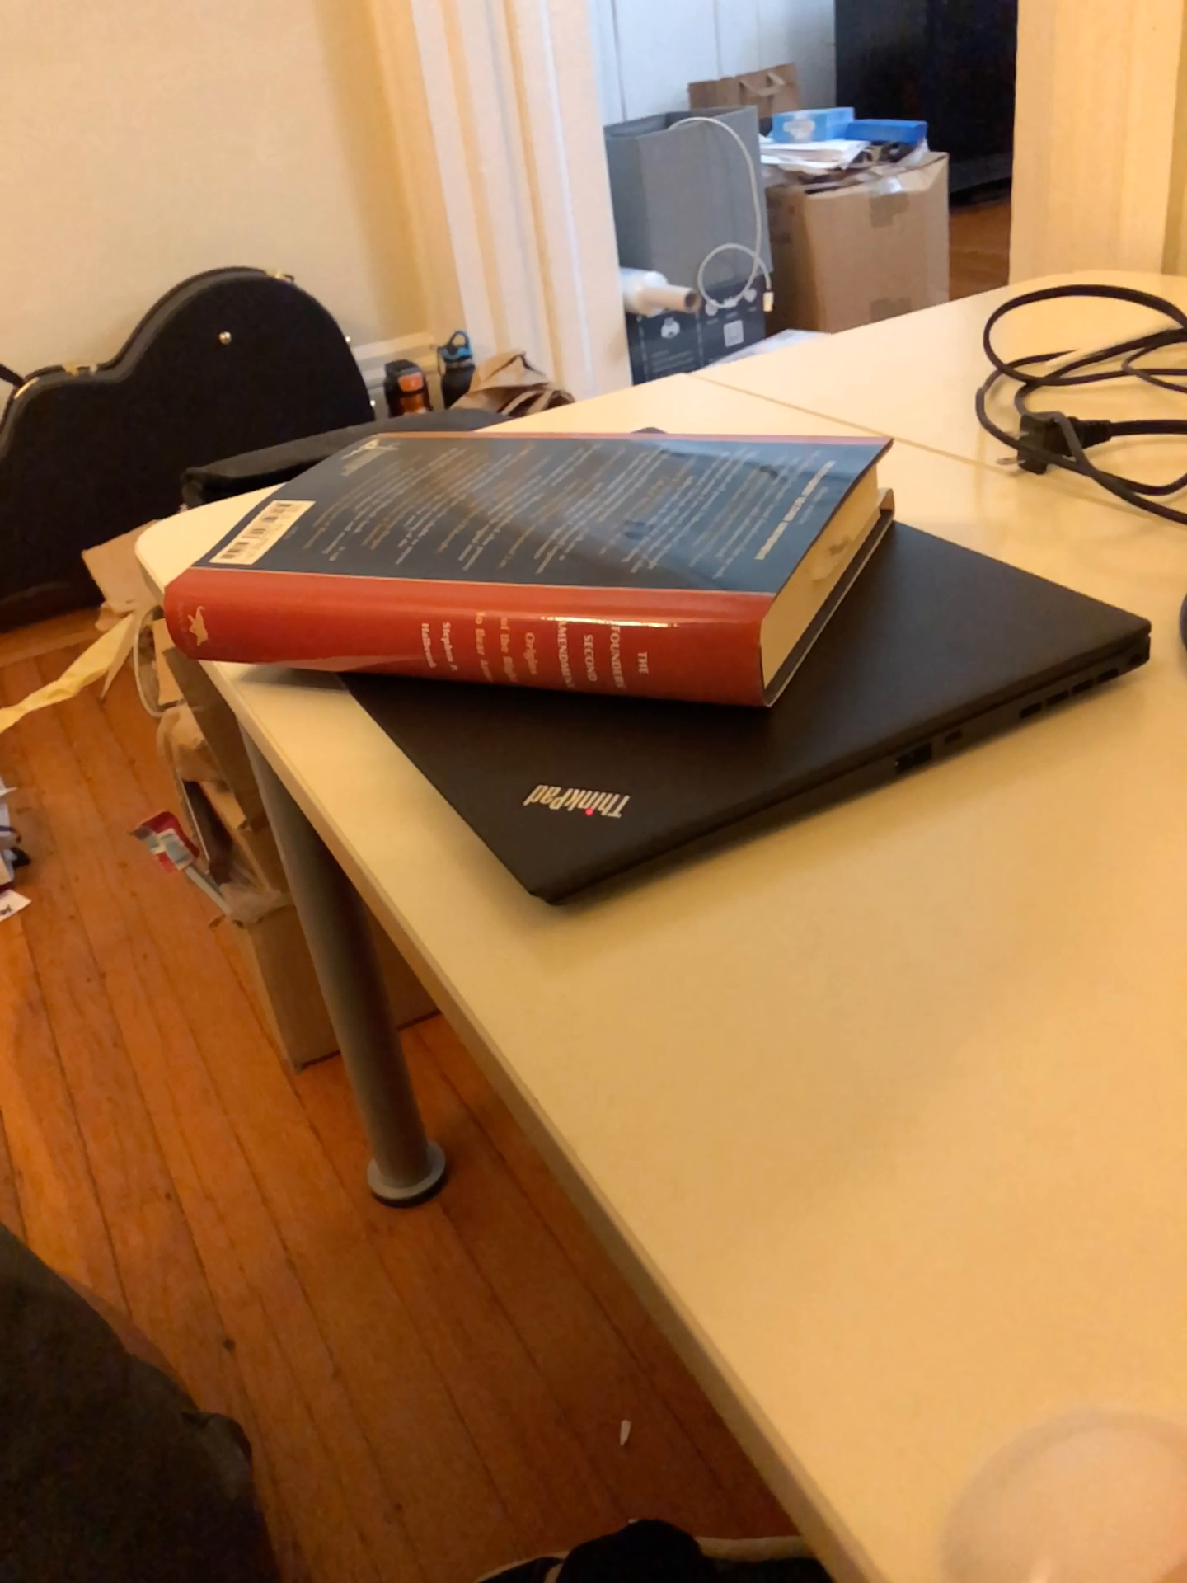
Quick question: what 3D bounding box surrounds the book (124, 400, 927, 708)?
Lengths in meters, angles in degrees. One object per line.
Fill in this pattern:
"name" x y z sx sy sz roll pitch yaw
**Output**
"book" -0.019 -0.095 0.479 0.240 0.040 0.171 6 33 27
